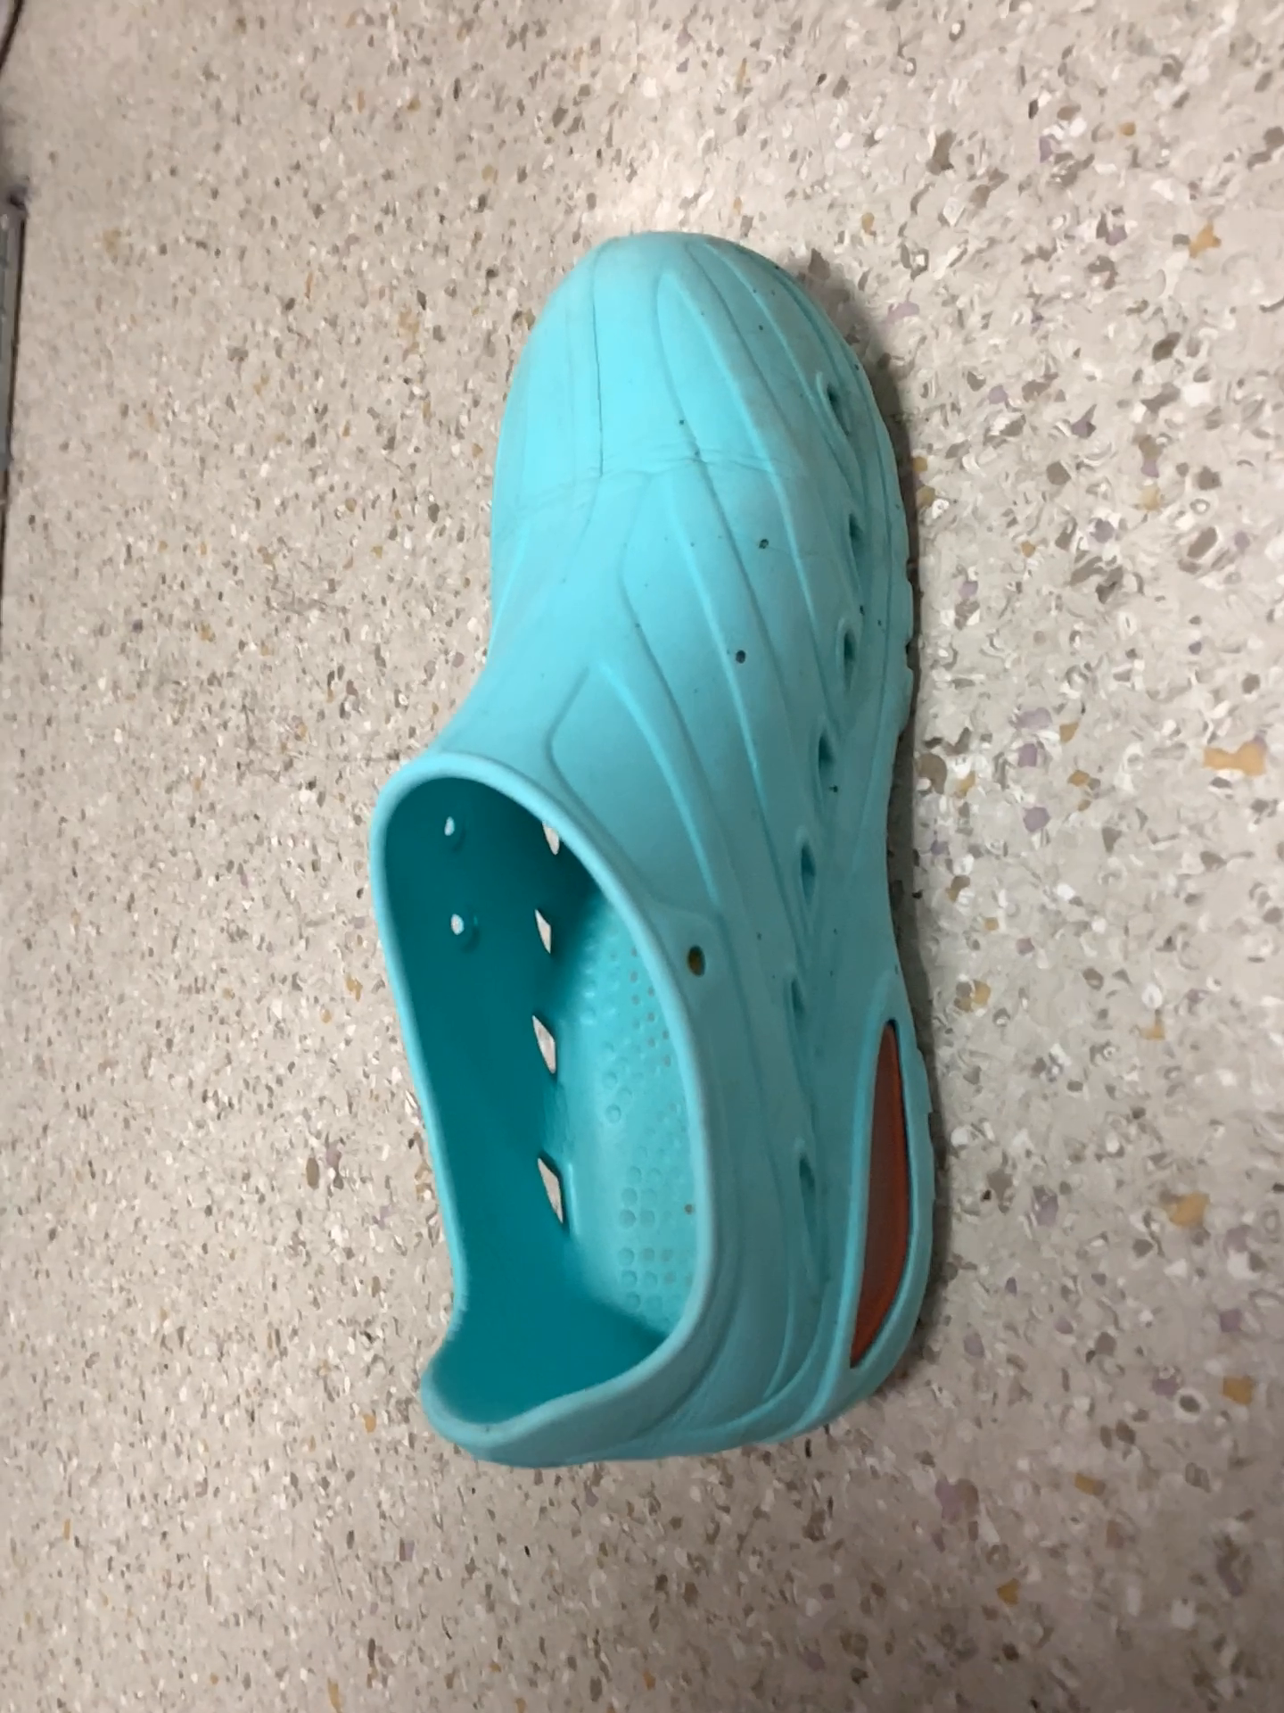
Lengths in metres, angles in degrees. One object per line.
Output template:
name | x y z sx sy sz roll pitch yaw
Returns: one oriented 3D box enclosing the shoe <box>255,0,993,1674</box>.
shoe | -0.007 -0.011 0.280 0.106 0.105 0.275 -7 82 45
